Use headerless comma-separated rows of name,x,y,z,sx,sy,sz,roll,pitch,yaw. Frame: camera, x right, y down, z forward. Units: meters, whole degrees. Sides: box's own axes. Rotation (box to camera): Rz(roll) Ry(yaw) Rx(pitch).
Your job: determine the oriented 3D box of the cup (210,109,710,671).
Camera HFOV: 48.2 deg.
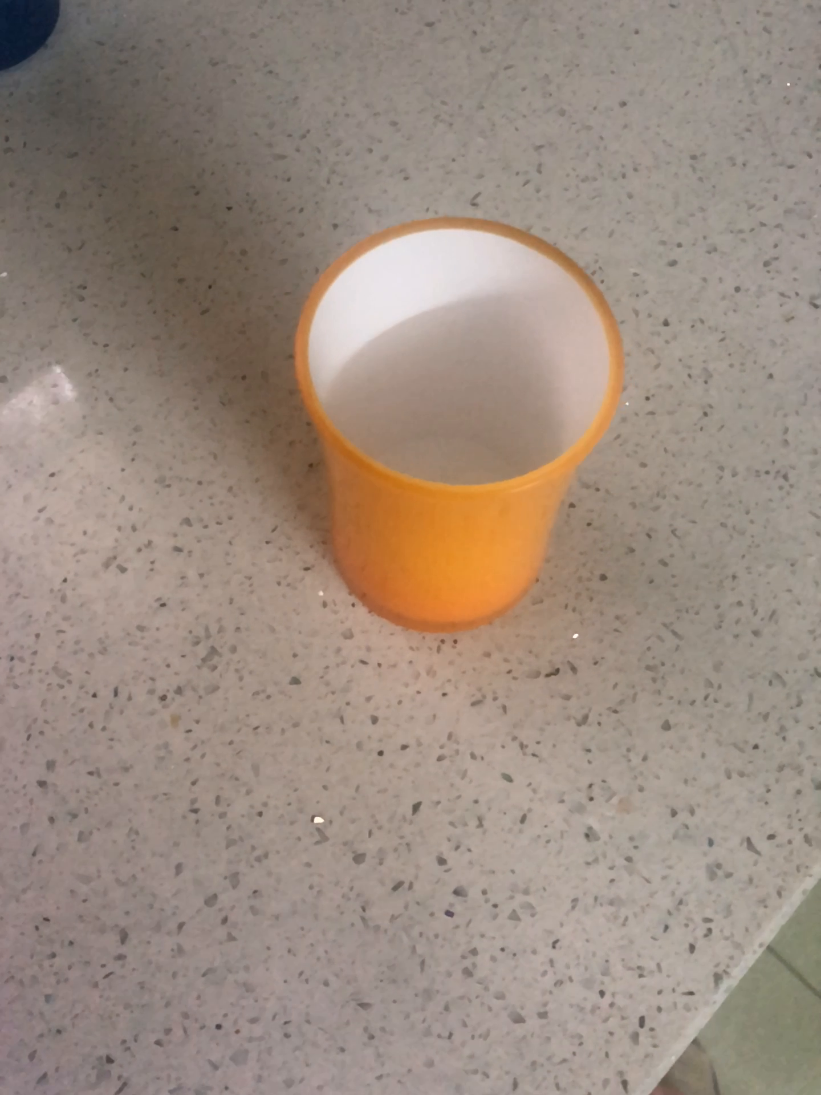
cup,0.007,-0.031,0.237,0.080,0.110,0.080,0,68,0
